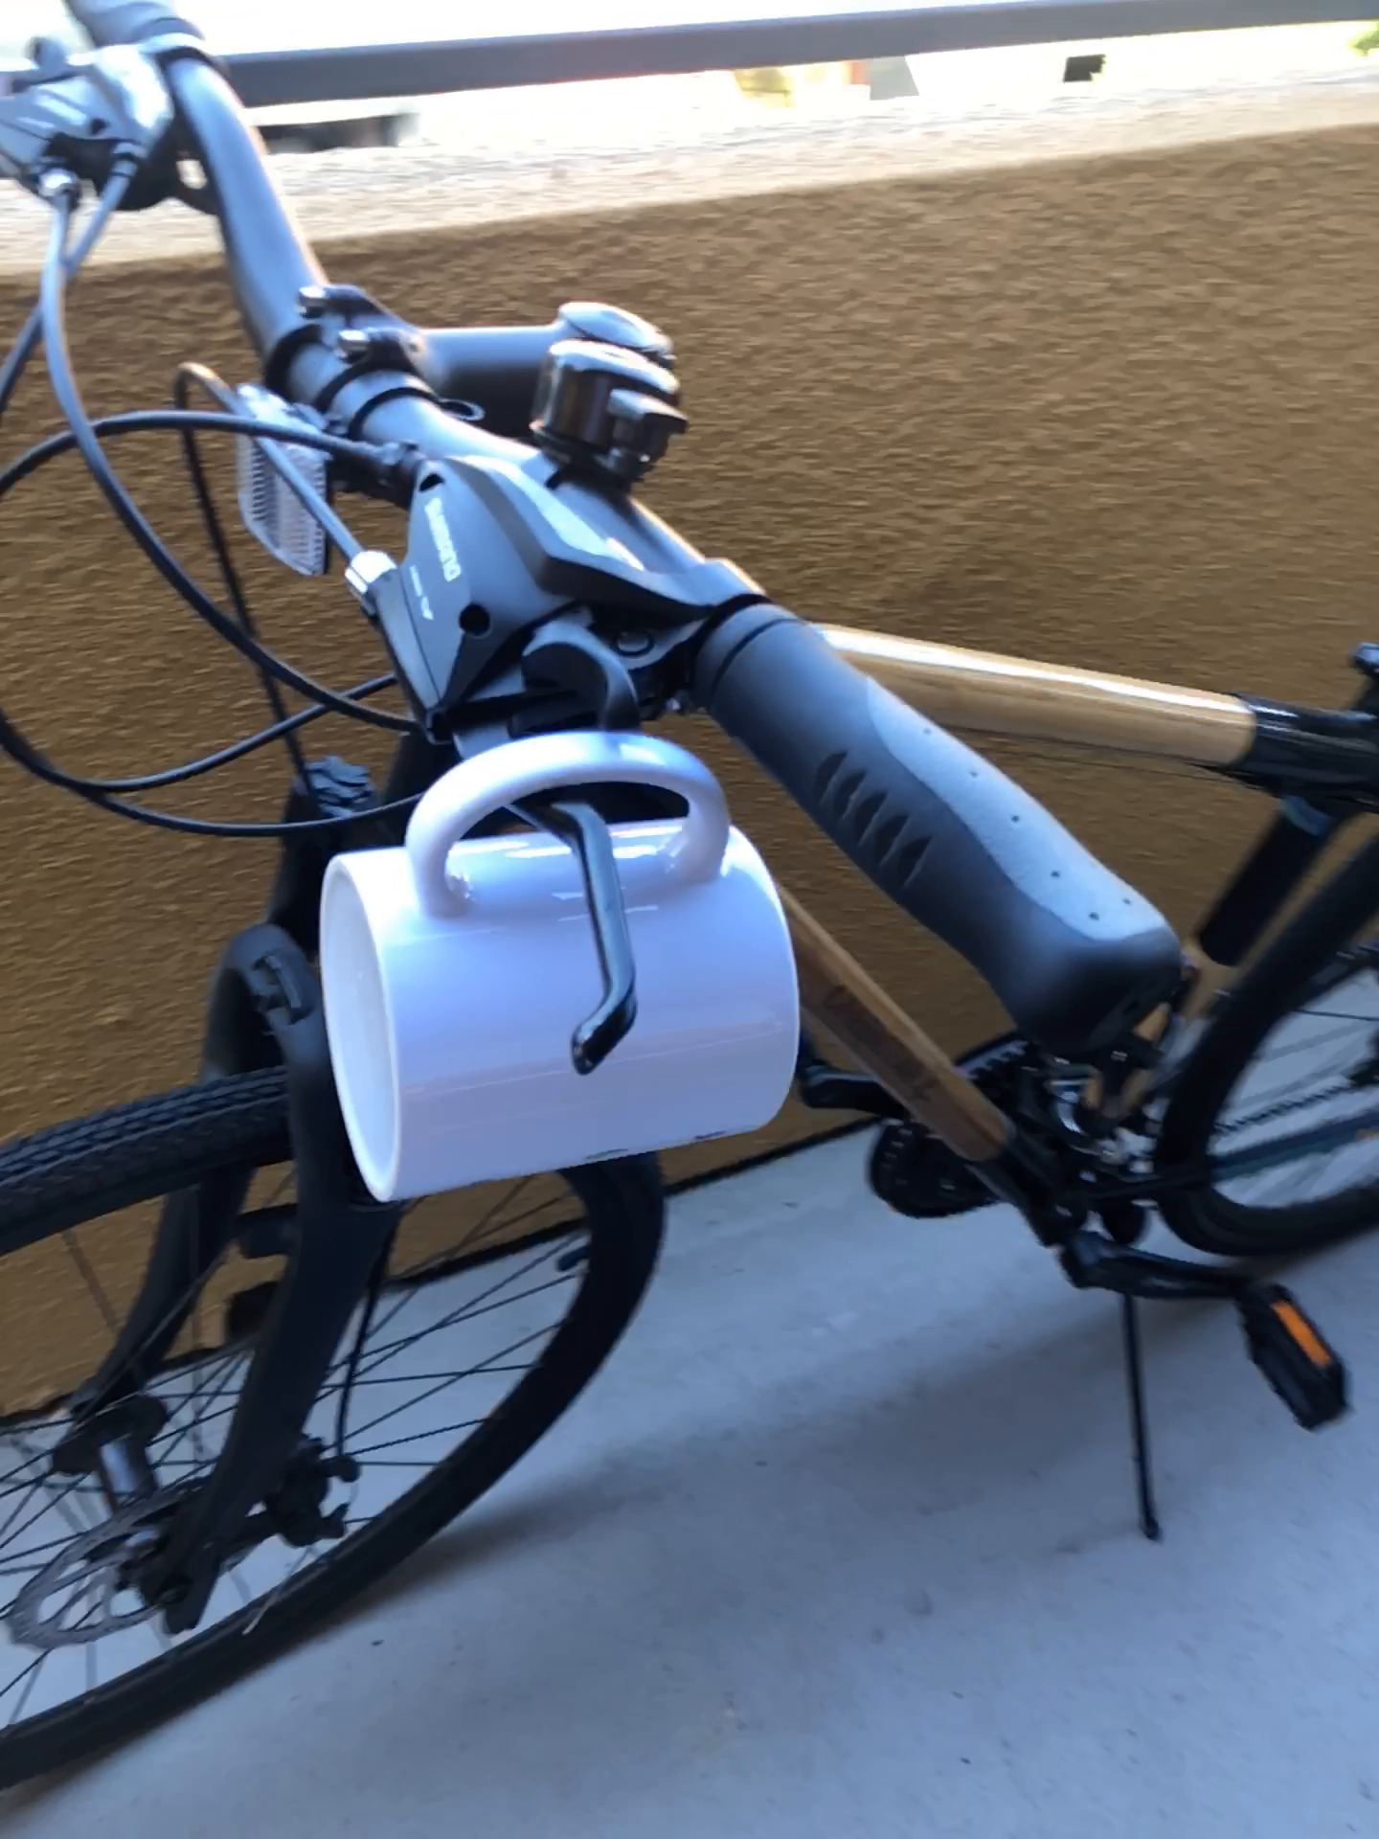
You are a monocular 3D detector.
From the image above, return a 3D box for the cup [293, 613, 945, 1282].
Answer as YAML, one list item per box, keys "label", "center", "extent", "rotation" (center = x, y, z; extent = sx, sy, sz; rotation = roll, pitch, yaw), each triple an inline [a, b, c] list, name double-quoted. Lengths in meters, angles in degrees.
- label: "cup"
  center: [-0.025, 0.006, 0.364]
  extent: [0.120, 0.119, 0.090]
  rotation: [-6, 49, -15]
